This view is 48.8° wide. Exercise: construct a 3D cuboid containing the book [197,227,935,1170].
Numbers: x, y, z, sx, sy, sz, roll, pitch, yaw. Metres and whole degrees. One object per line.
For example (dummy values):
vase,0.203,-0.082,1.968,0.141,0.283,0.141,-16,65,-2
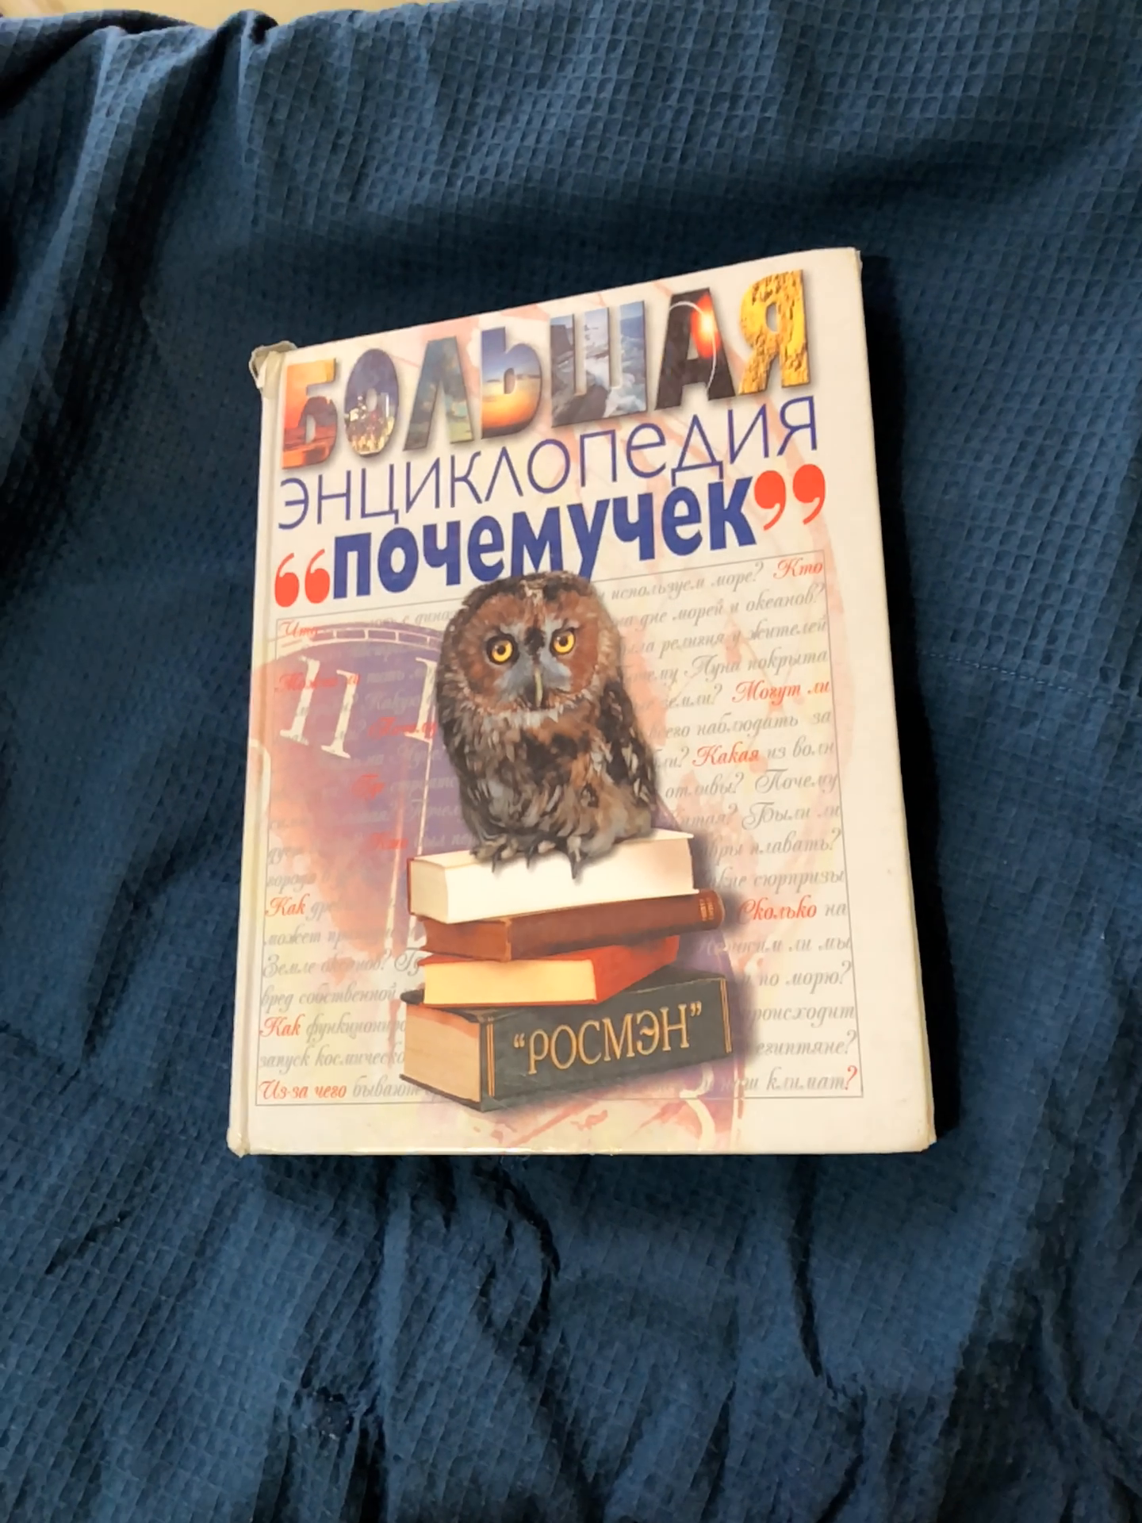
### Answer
book,-0.010,-0.020,0.435,0.235,0.030,0.305,-5,75,16
